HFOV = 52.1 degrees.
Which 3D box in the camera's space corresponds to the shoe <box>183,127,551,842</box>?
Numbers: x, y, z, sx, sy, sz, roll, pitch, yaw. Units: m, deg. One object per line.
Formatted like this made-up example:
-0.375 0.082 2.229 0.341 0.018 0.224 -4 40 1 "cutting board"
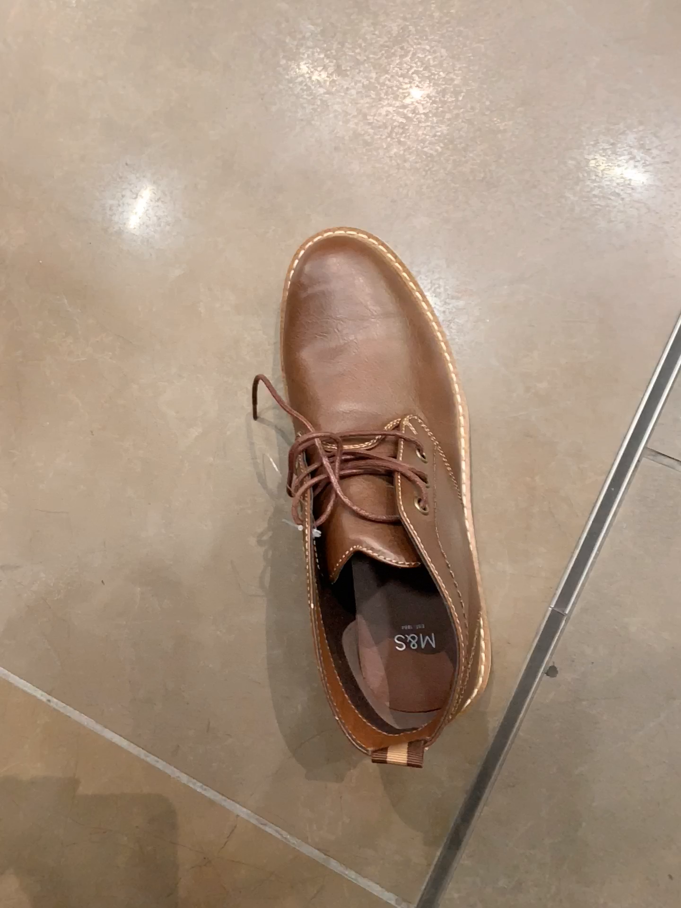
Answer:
0.017 0.014 0.361 0.106 0.120 0.295 -12 84 11 "shoe"
